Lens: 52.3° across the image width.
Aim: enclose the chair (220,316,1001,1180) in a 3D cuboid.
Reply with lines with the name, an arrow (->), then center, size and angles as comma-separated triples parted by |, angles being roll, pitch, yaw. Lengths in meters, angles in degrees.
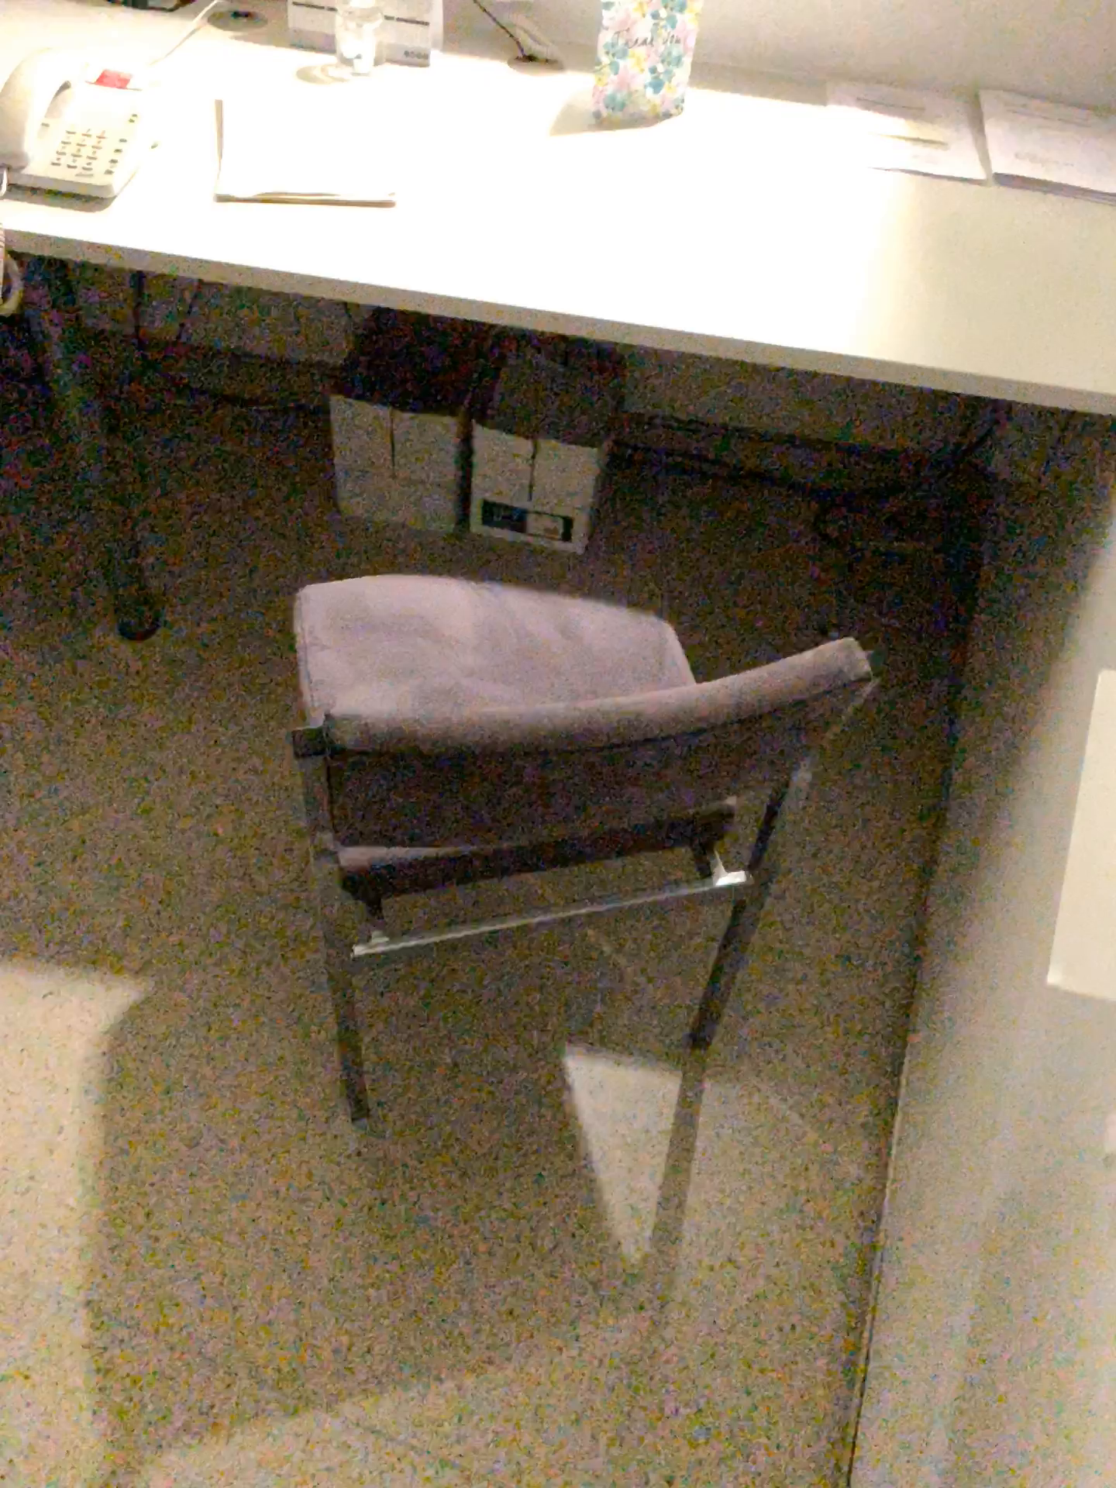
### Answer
chair -> -0.026, 0.015, 1.215 | 0.540, 0.693, 0.545 | -7, 50, -12
